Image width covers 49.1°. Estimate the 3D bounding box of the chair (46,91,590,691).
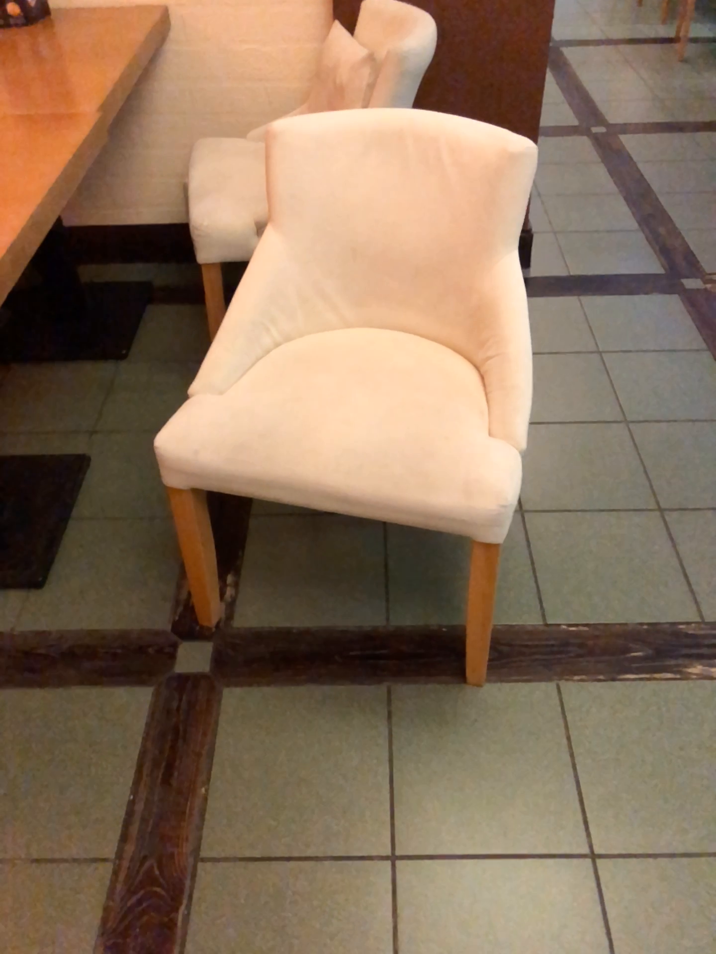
[{"bbox_3d":[0.014,-0.170,1.380,0.630,0.736,0.664,8,43,11],"label":"chair"}]
